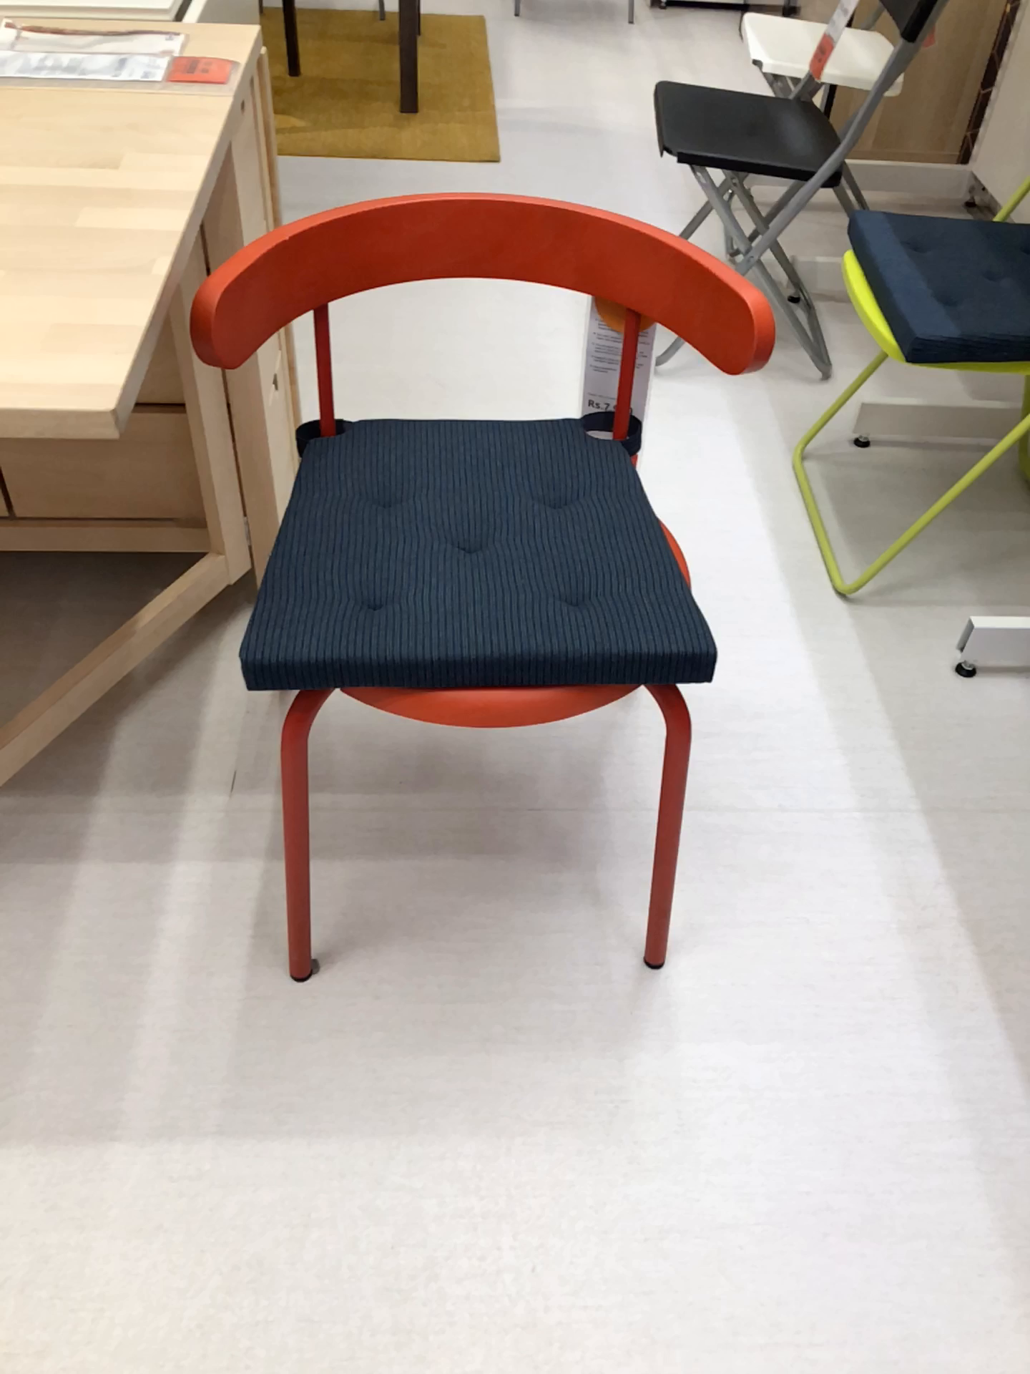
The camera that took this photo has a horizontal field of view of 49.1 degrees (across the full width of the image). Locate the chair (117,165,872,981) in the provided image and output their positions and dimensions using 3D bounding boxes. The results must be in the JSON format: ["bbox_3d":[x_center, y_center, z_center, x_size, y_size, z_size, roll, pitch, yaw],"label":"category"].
[{"bbox_3d":[-0.040,-0.100,1.191,0.520,0.675,0.504,-1,45,-5],"label":"chair"}]
